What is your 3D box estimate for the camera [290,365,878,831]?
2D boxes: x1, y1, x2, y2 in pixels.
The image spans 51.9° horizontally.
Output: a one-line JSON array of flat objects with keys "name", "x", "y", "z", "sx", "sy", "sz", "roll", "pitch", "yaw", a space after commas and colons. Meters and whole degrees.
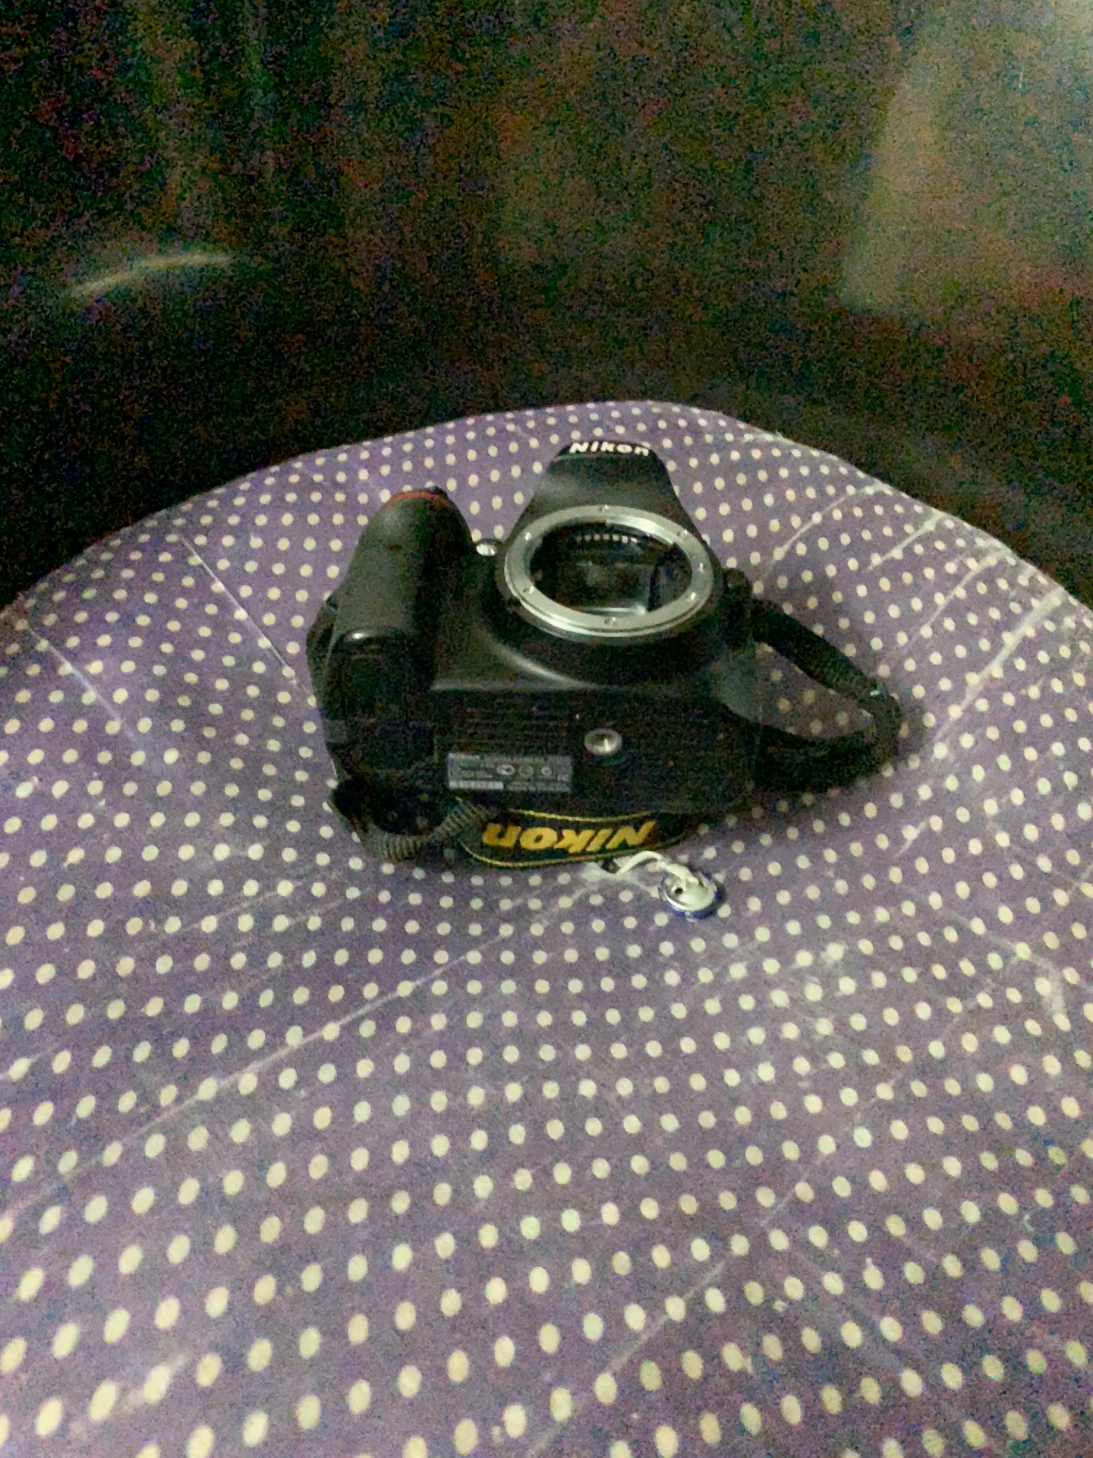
[{"name": "camera", "x": 0.006, "y": -0.040, "z": 0.333, "sx": 0.140, "sy": 0.080, "sz": 0.110, "roll": 2, "pitch": 46, "yaw": -3}]
